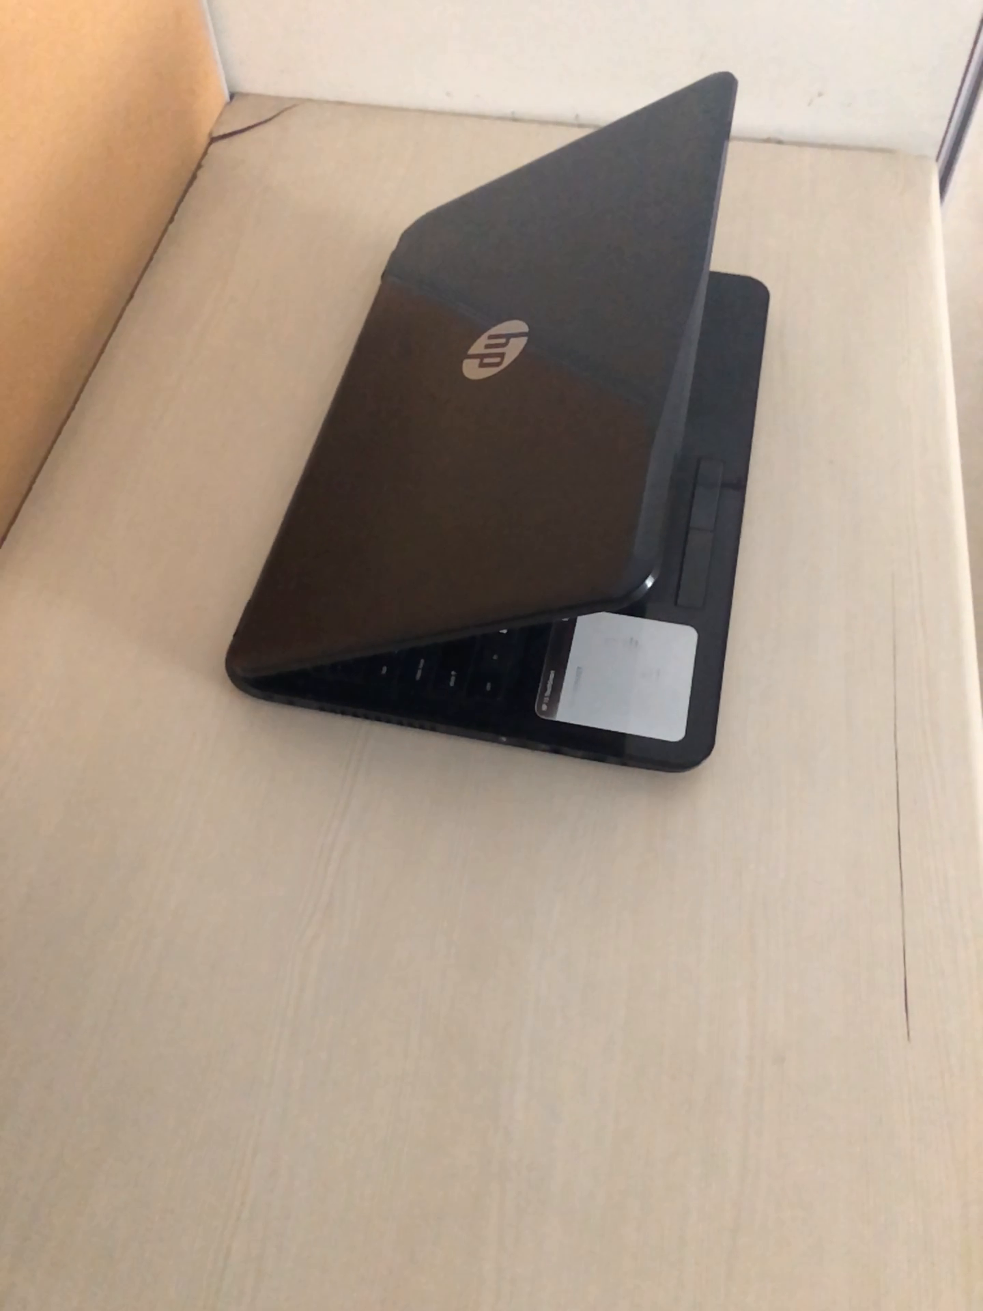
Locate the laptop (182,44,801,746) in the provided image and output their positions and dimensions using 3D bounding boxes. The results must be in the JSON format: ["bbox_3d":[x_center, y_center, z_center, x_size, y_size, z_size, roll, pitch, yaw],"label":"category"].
[{"bbox_3d":[0.023,-0.155,0.582,0.223,0.131,0.354,10,59,8],"label":"laptop"}]
